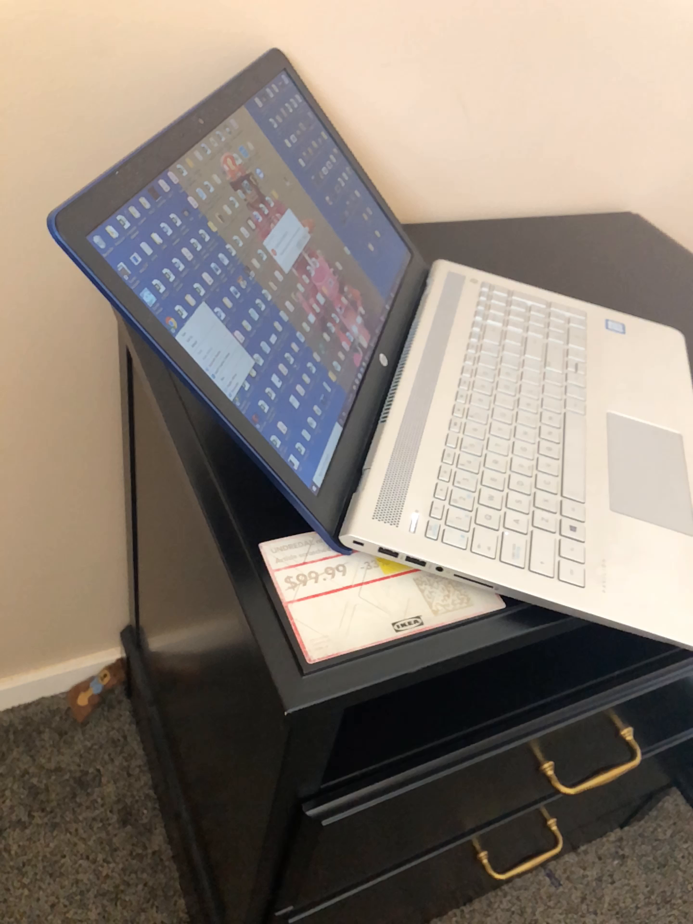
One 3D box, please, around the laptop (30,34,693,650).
[{"bbox_3d":[0.075,-0.123,0.527,0.400,0.141,0.368,17,42,2],"label":"laptop"}]
